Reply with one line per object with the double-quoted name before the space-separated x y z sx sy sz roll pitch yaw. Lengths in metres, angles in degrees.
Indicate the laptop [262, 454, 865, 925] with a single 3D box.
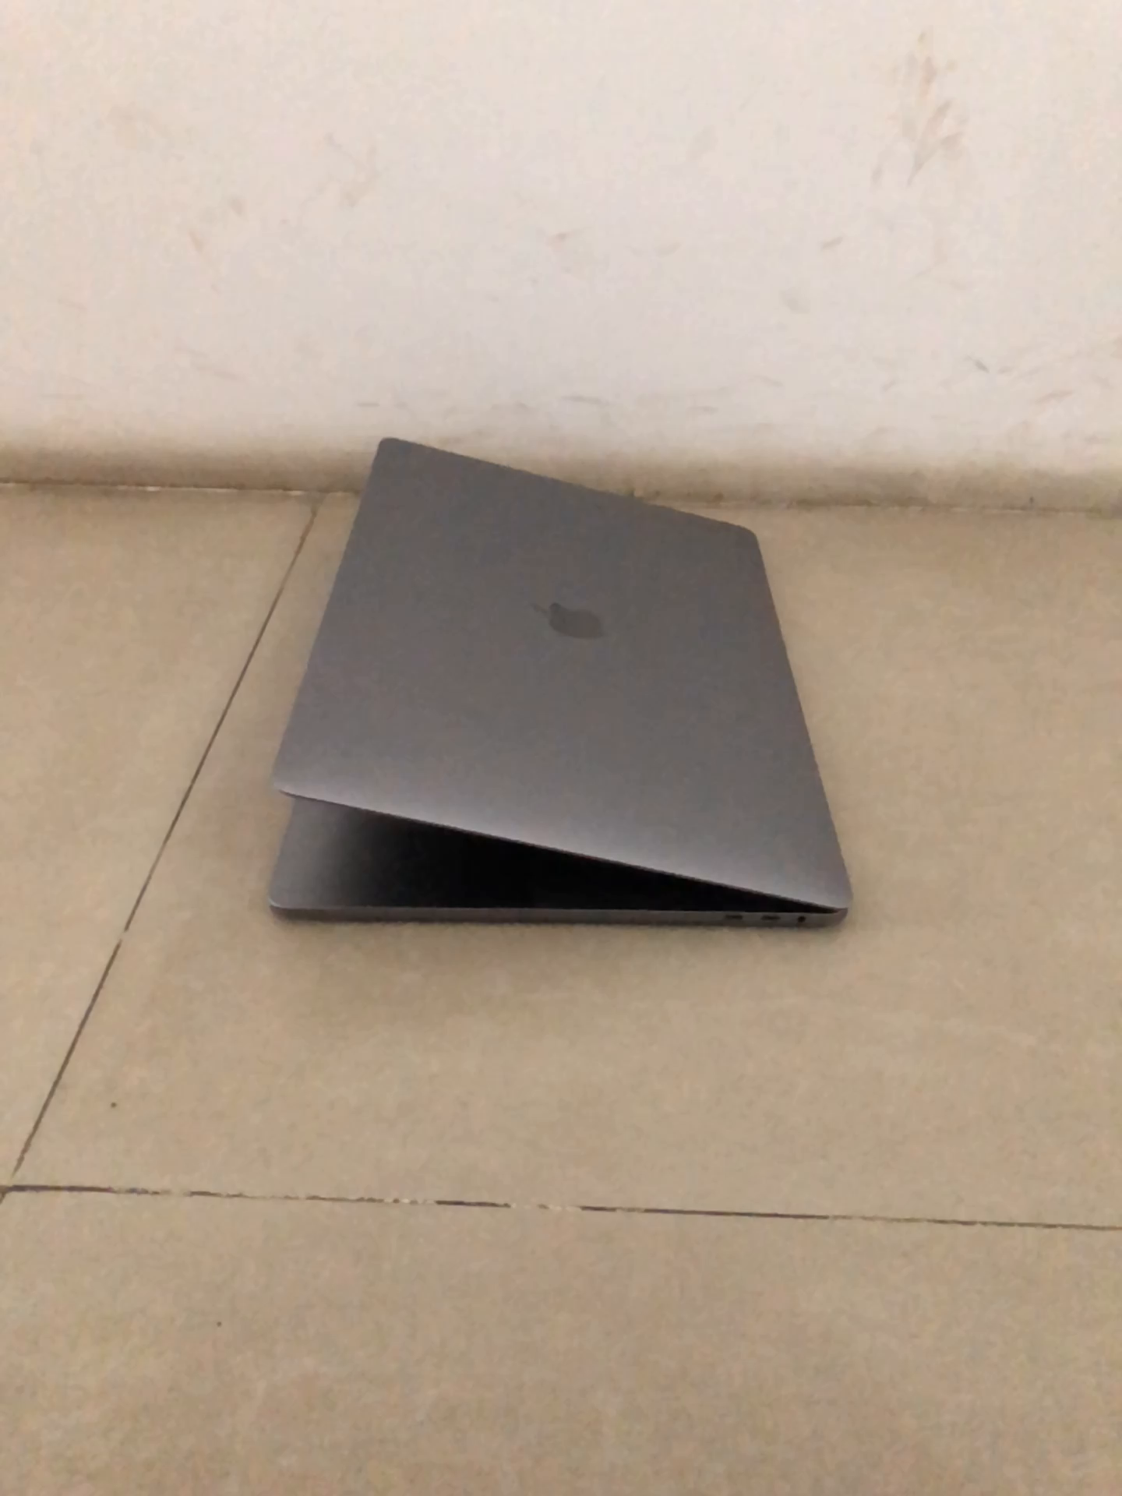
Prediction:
"laptop" 0.004 -0.053 0.627 0.232 0.057 0.337 1 36 1
